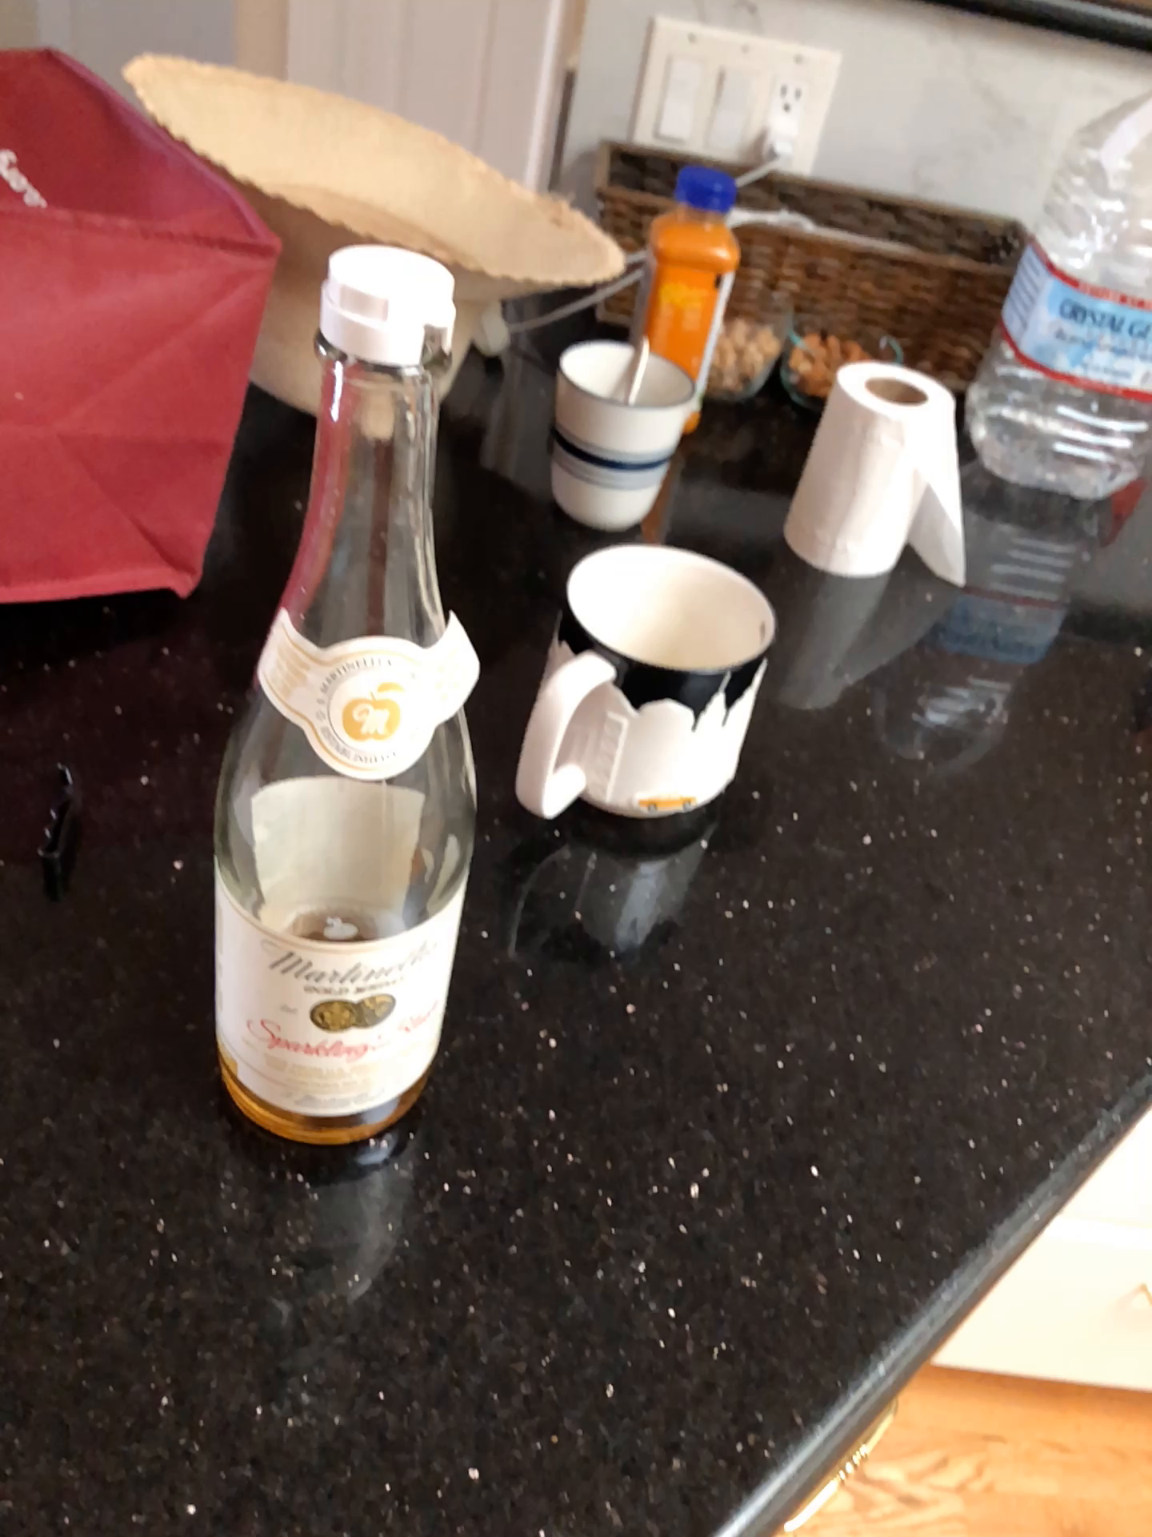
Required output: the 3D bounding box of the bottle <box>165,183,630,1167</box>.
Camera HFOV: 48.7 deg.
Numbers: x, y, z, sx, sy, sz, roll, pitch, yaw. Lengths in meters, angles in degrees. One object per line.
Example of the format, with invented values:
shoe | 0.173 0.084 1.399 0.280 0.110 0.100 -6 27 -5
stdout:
bottle | -0.071 -0.007 0.389 0.094 0.288 0.098 8 40 -7
